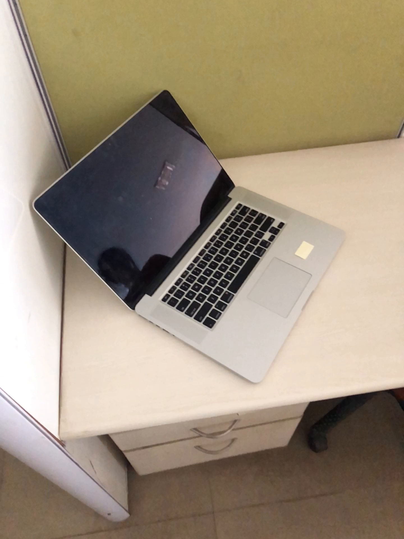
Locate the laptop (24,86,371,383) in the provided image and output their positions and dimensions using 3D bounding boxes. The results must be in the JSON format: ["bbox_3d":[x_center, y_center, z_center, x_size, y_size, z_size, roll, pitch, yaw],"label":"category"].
[{"bbox_3d":[0.005,-0.085,0.742,0.403,0.163,0.346,28,59,17],"label":"laptop"}]
